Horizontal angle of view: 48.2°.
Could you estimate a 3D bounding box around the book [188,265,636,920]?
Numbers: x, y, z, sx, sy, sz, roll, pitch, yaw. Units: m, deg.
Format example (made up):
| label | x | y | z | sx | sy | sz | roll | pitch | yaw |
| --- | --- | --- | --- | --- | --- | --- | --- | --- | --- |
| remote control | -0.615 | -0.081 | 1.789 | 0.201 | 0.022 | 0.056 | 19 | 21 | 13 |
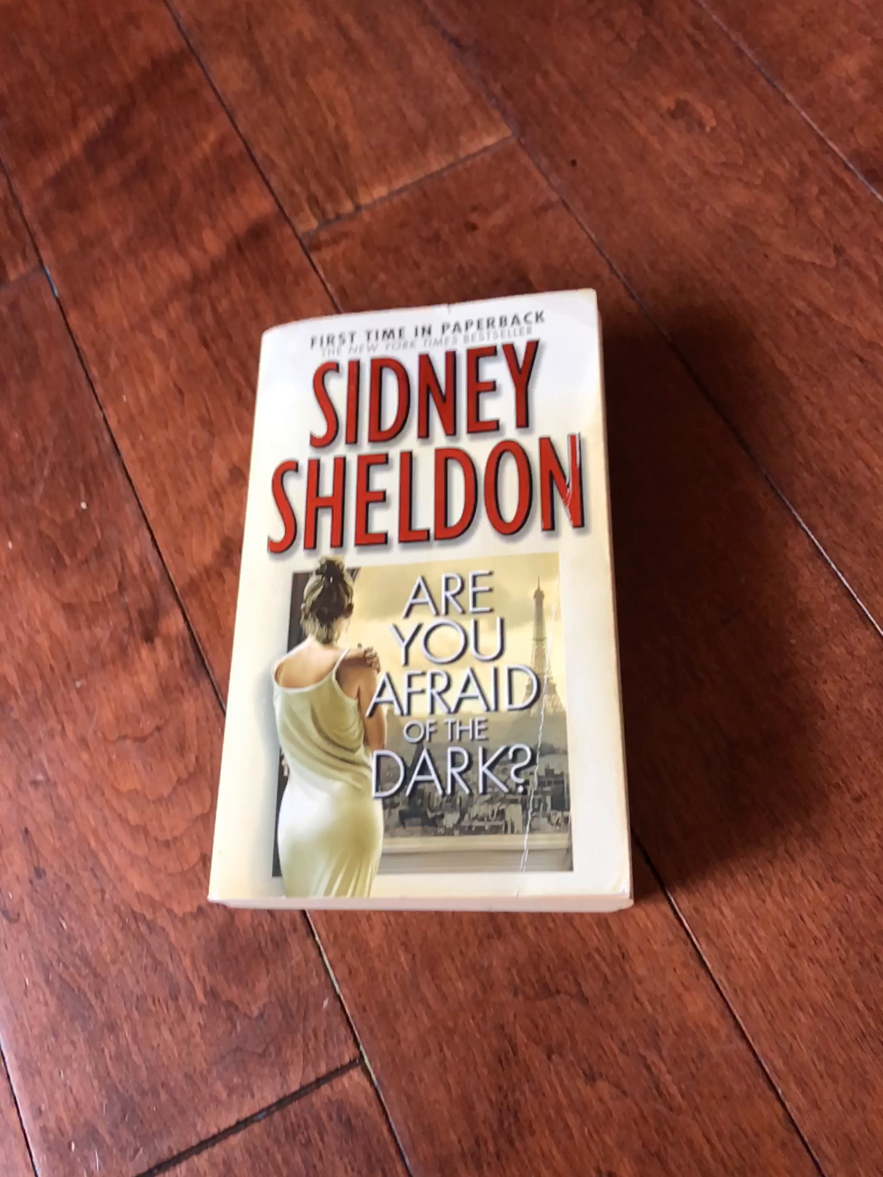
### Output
| label | x | y | z | sx | sy | sz | roll | pitch | yaw |
| --- | --- | --- | --- | --- | --- | --- | --- | --- | --- |
| book | -0.004 | -0.001 | 0.284 | 0.108 | 0.040 | 0.180 | -3 | 68 | 11 |
